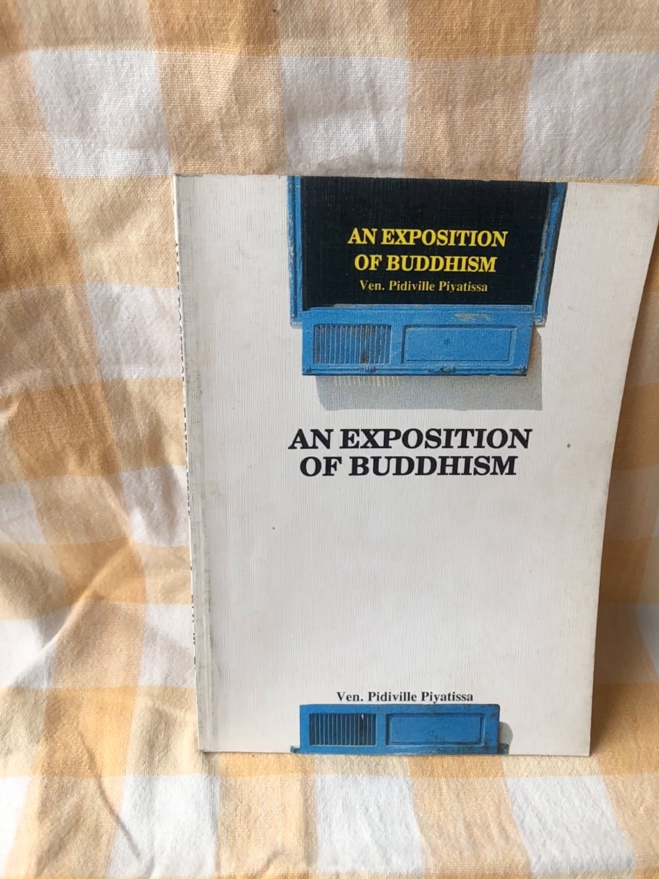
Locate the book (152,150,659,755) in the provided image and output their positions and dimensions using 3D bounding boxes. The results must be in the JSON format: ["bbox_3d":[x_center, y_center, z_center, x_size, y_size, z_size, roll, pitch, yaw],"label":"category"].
[{"bbox_3d":[0.021,0.013,0.241,0.140,0.199,0.020,0,17,1],"label":"book"}]
